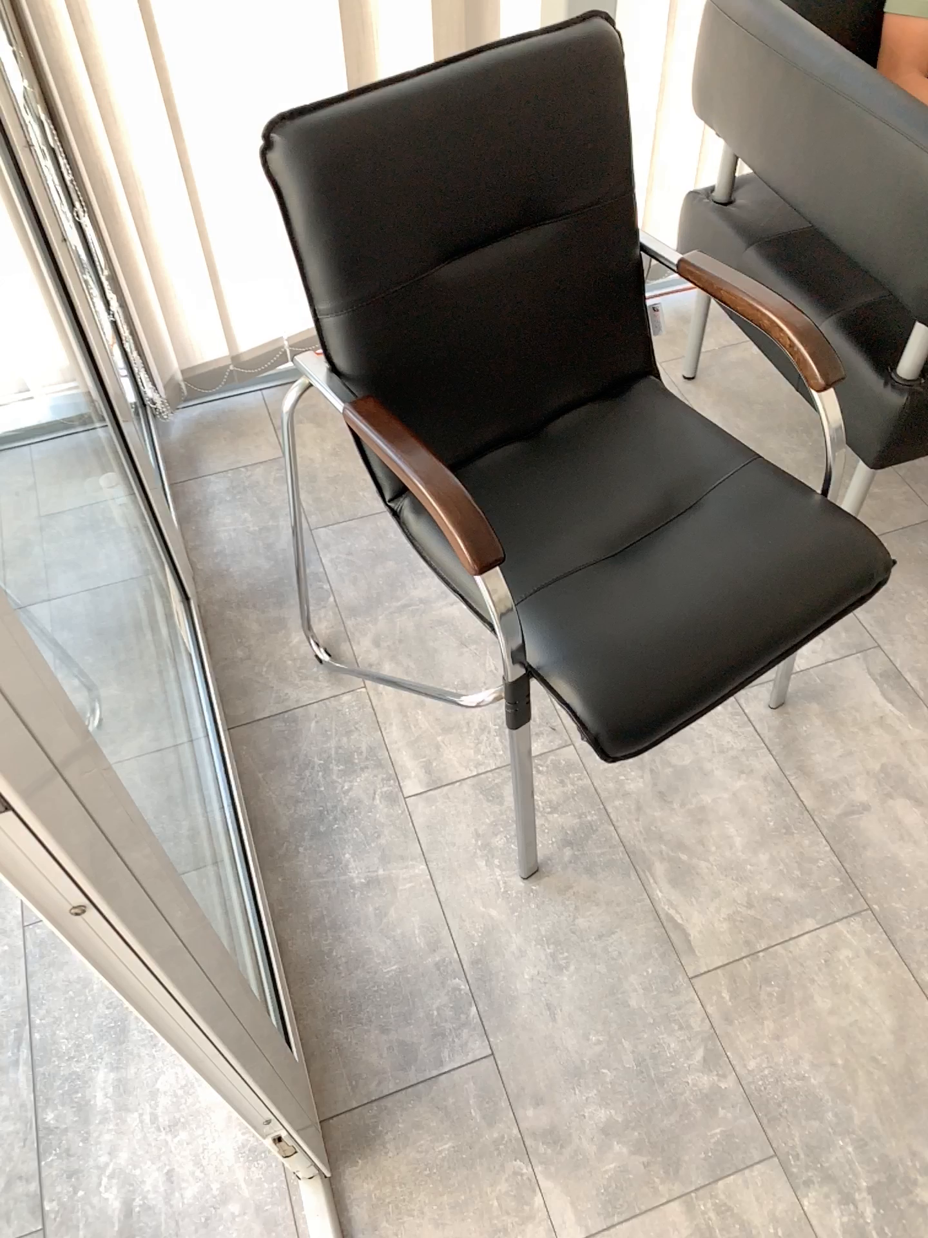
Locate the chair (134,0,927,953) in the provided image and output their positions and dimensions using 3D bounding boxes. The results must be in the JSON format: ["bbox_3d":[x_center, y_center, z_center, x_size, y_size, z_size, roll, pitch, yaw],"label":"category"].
[{"bbox_3d":[0.149,-0.190,1.239,0.681,0.827,0.702,-30,57,-20],"label":"chair"}]
